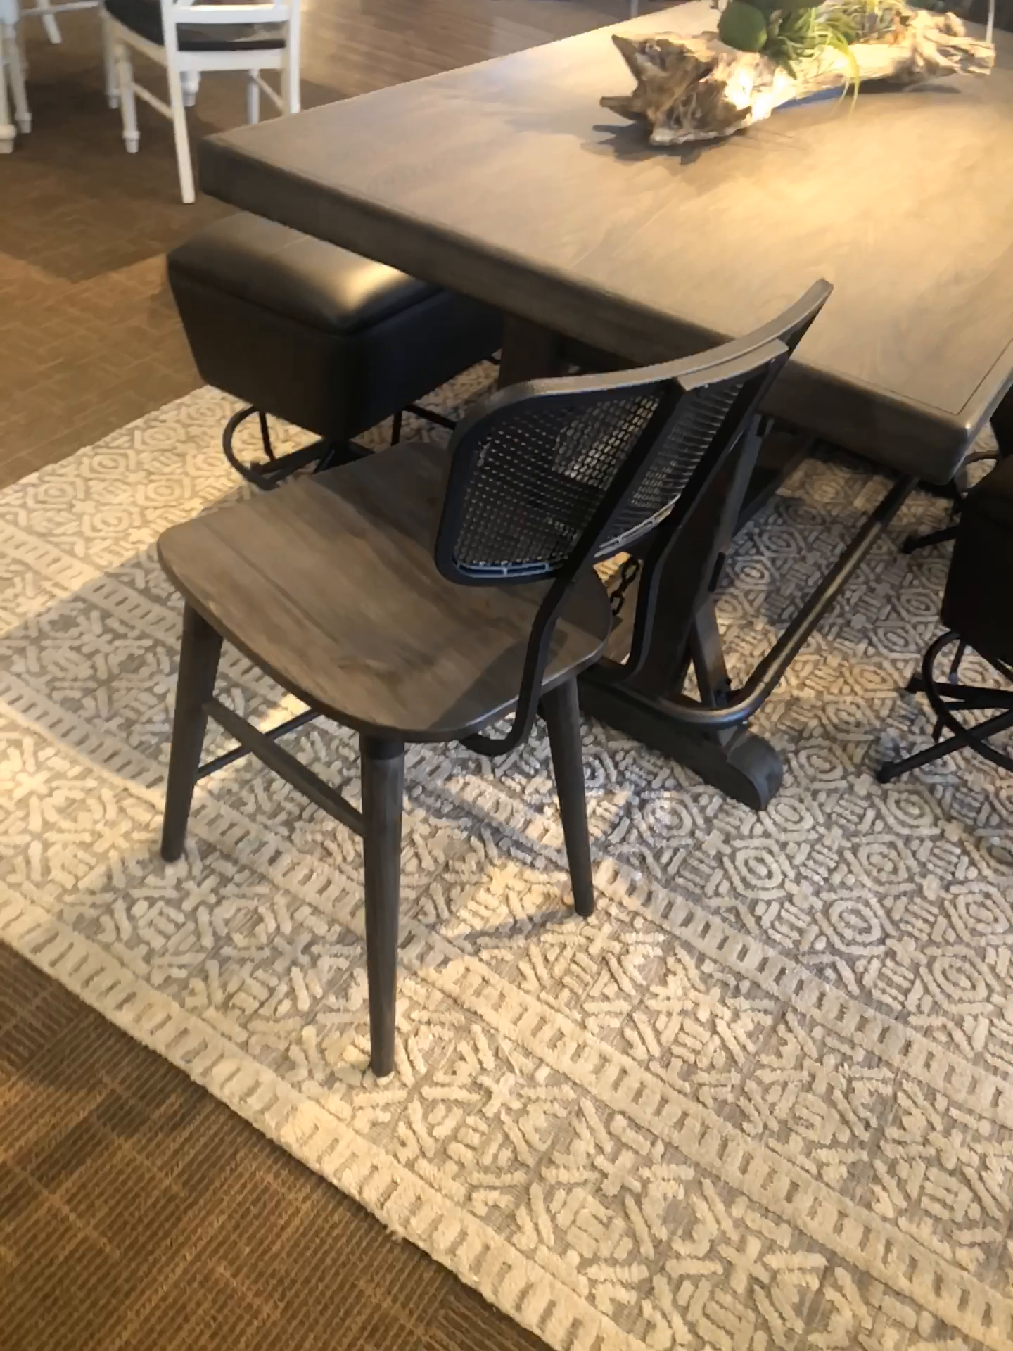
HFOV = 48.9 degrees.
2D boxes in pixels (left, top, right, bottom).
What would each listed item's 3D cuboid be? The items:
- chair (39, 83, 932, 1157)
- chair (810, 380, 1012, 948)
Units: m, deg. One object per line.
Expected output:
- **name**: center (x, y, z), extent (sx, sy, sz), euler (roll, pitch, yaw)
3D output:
- **chair**: center (-0.074, -0.056, 1.281), extent (0.508, 0.947, 0.605), euler (-29, 53, -35)
- **chair**: center (0.933, -0.056, 1.776), extent (0.520, 0.488, 0.637), euler (33, 47, 25)
